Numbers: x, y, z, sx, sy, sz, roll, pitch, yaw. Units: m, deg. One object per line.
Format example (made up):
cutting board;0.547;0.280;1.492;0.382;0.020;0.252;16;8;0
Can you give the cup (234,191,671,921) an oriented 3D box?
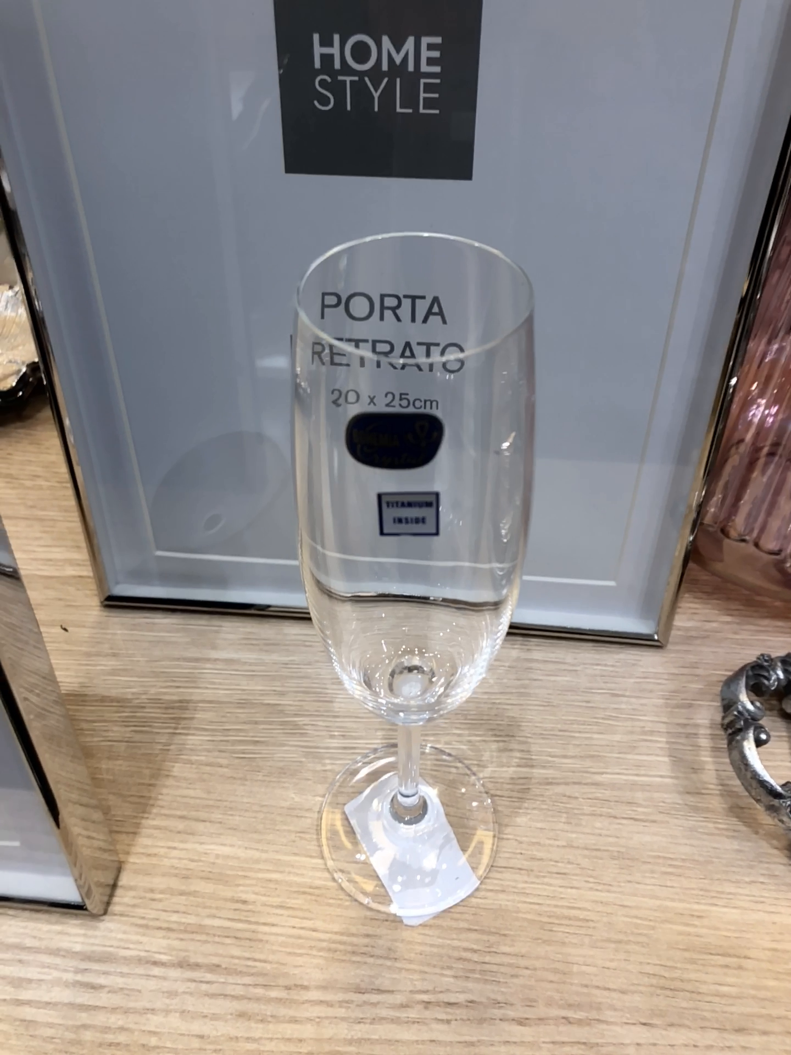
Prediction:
cup;0.011;0.030;0.243;0.070;0.219;0.070;0;45;0
